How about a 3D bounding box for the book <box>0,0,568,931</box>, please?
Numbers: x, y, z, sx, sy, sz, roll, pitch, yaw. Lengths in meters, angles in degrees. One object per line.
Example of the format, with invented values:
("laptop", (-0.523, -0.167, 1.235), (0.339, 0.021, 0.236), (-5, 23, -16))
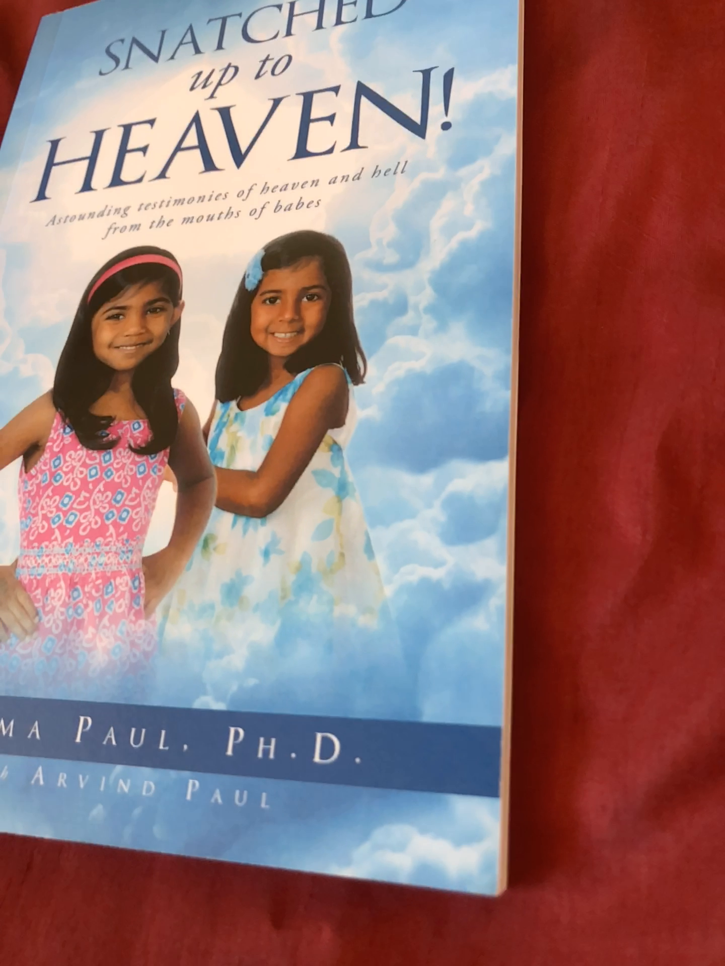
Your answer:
("book", (-0.028, -0.032, 0.180), (0.140, 0.020, 0.212), (-2, 69, 19))
